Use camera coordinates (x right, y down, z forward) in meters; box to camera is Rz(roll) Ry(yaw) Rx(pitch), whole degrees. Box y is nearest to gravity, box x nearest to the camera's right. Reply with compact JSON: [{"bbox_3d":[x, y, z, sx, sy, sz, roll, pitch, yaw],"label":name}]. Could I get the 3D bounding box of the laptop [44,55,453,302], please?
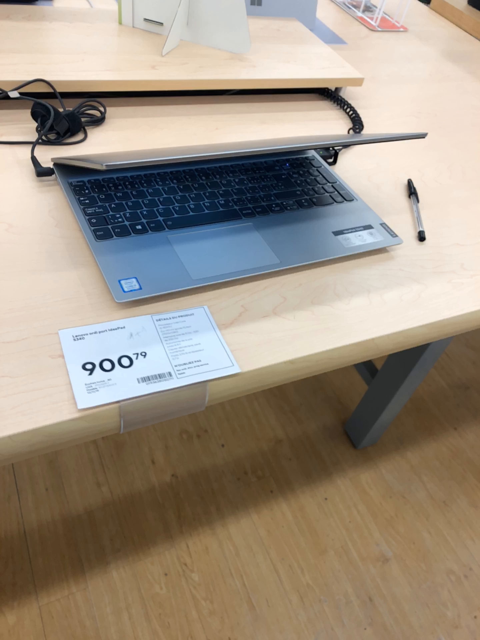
[{"bbox_3d":[0.001,-0.178,0.579,0.352,0.122,0.234,-14,52,-26],"label":"laptop"}]
